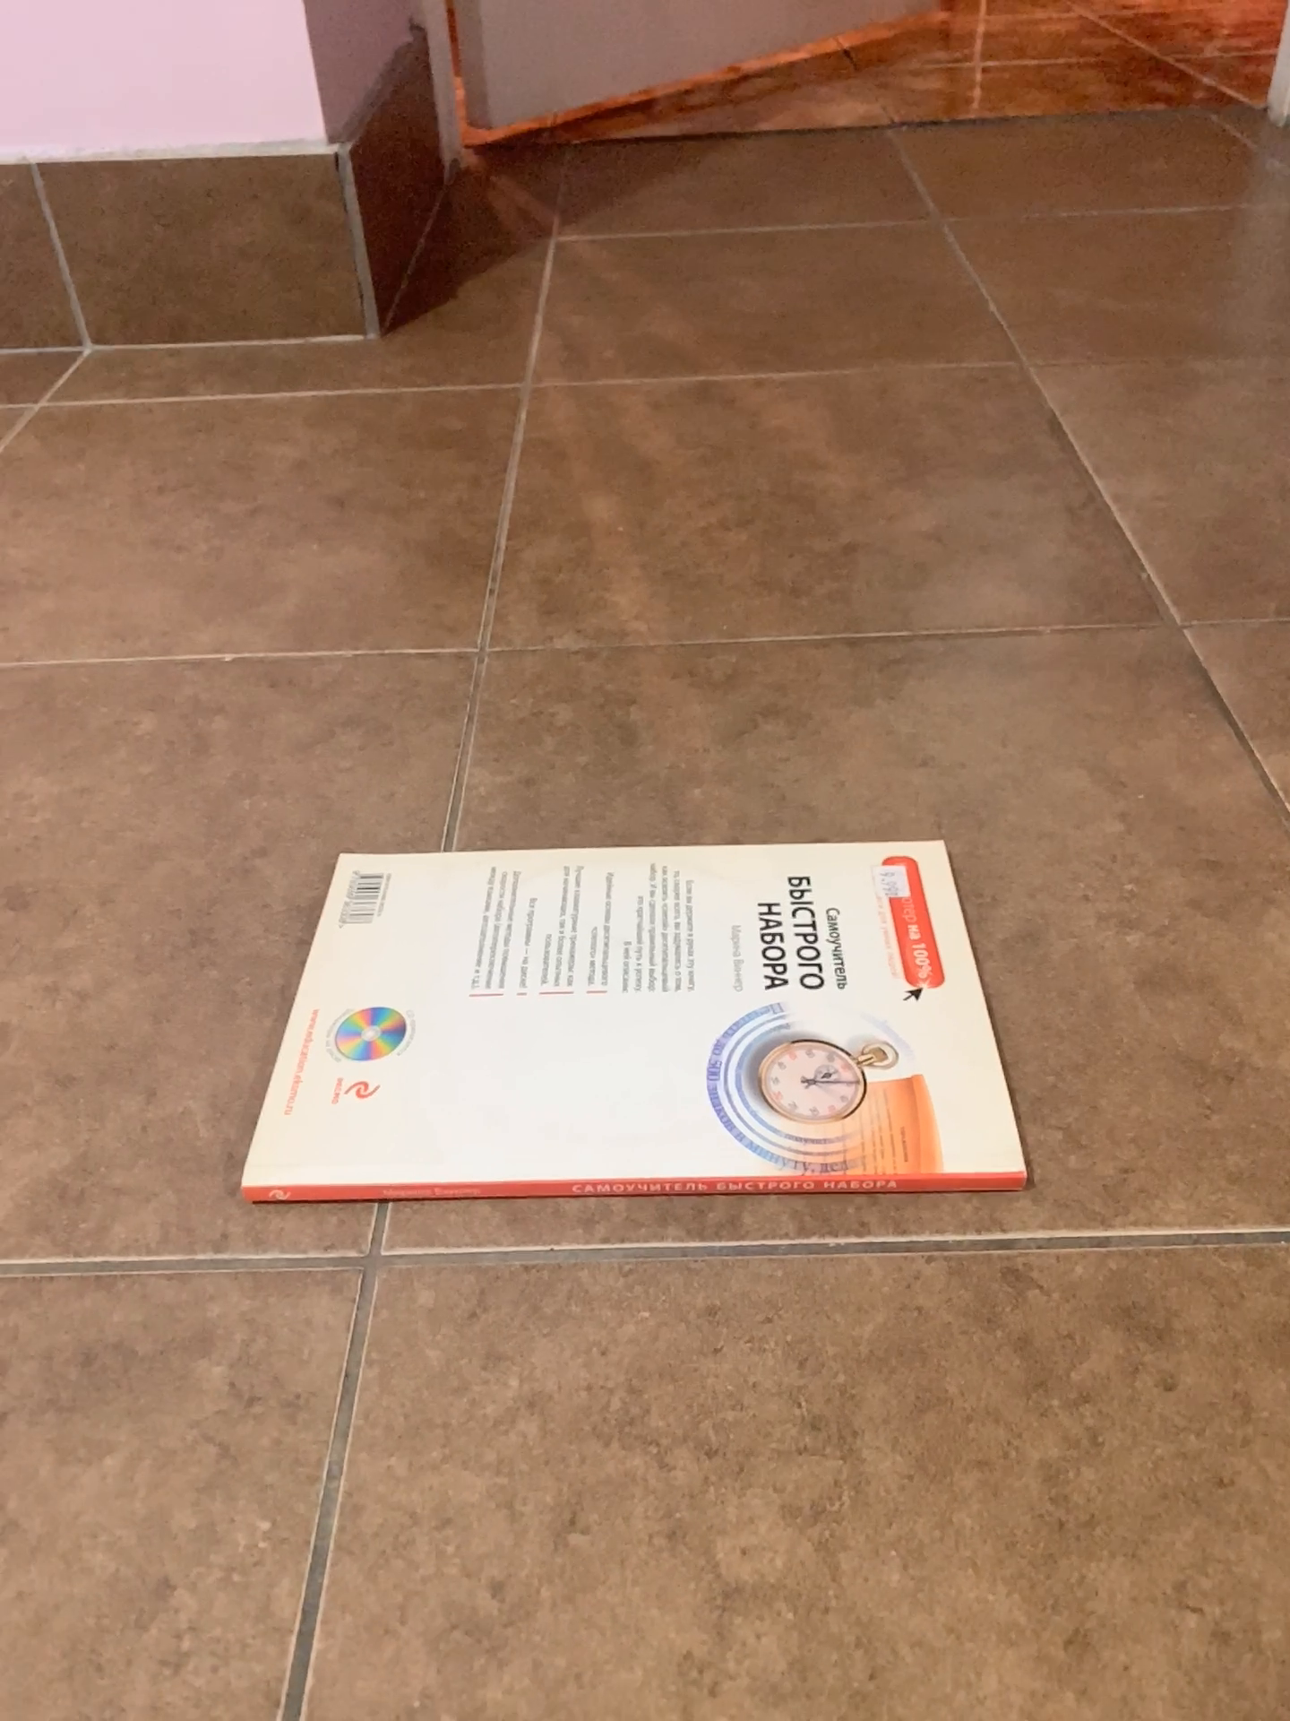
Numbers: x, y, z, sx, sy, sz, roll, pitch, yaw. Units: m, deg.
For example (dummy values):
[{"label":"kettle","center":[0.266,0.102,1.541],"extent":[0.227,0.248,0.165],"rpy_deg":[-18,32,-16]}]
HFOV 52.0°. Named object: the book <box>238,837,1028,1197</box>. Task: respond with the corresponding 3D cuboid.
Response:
[{"label":"book","center":[-0.003,0.042,0.405],"extent":[0.210,0.009,0.135],"rpy_deg":[-1,41,2]}]
